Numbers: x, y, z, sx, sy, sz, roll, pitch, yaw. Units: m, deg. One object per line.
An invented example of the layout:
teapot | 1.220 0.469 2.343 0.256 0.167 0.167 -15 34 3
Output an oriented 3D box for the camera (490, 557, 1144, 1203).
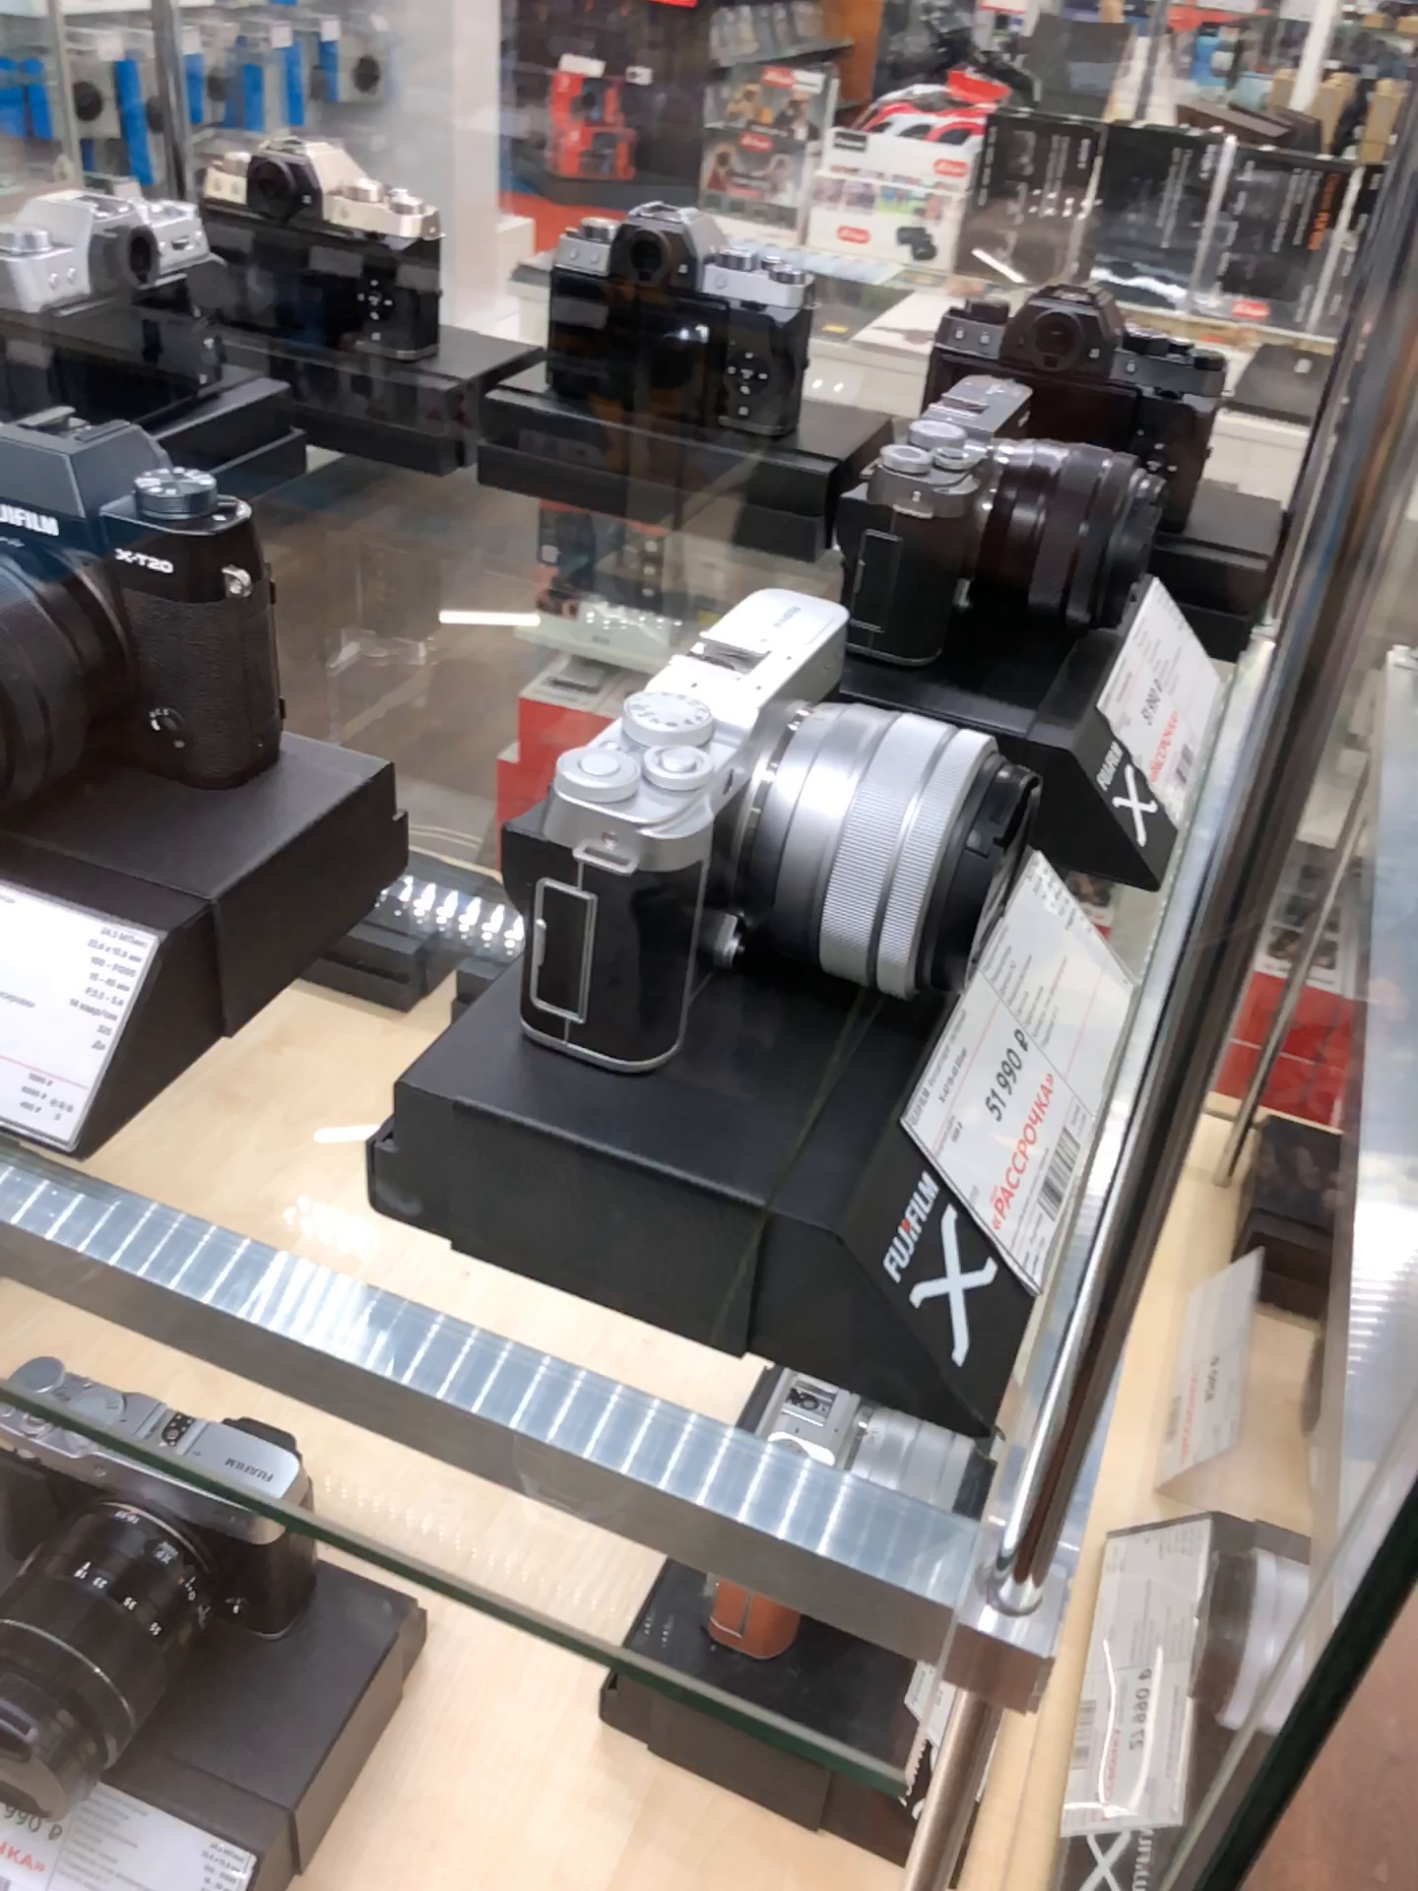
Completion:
camera | 0.028 -0.024 0.350 0.100 0.066 0.134 18 36 16
